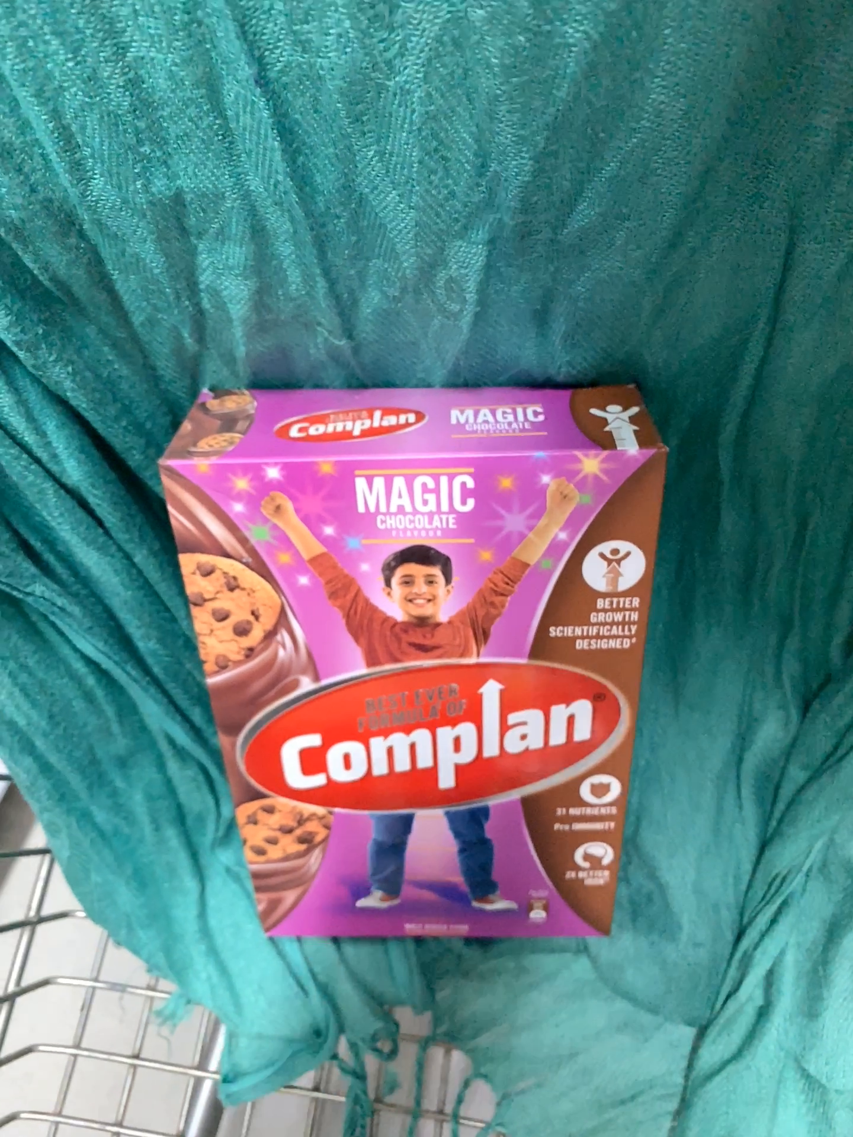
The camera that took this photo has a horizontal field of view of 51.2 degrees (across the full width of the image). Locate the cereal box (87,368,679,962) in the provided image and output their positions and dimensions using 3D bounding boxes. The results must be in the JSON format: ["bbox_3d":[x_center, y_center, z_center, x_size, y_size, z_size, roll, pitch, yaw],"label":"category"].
[{"bbox_3d":[-0.007,0.047,0.316,0.160,0.220,0.050,-1,30,4],"label":"cereal box"}]
